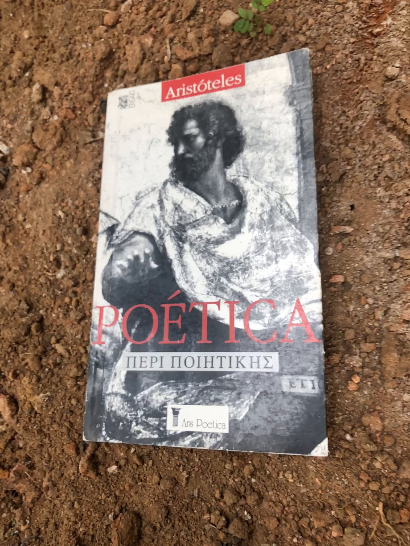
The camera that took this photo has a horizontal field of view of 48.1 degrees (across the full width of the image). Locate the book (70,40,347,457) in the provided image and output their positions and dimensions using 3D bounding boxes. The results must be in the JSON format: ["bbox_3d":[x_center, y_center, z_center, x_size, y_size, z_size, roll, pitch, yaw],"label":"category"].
[{"bbox_3d":[-0.002,-0.014,0.231,0.130,0.015,0.189,-4,77,21],"label":"book"}]
